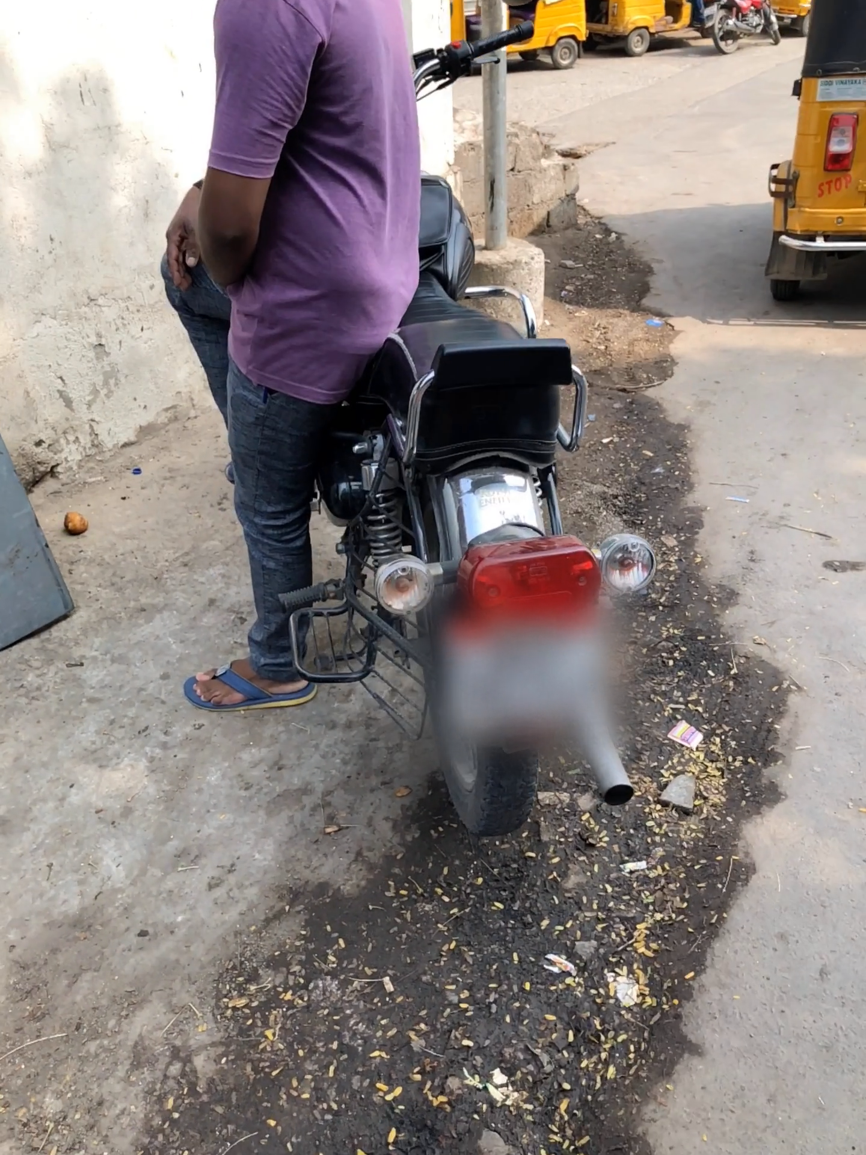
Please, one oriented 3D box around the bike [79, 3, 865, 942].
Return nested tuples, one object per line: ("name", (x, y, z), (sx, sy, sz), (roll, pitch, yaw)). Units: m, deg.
("bike", (-0.173, -0.459, 2.046), (0.839, 1.172, 1.930), (-11, 36, -12))
